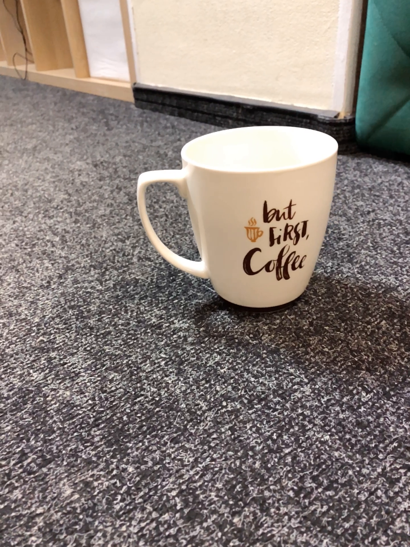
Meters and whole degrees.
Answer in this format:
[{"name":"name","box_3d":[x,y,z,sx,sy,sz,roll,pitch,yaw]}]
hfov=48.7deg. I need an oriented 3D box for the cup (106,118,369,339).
[{"name":"cup","box_3d":[0.016,-0.042,0.326,0.145,0.100,0.111,-11,30,-13]}]
